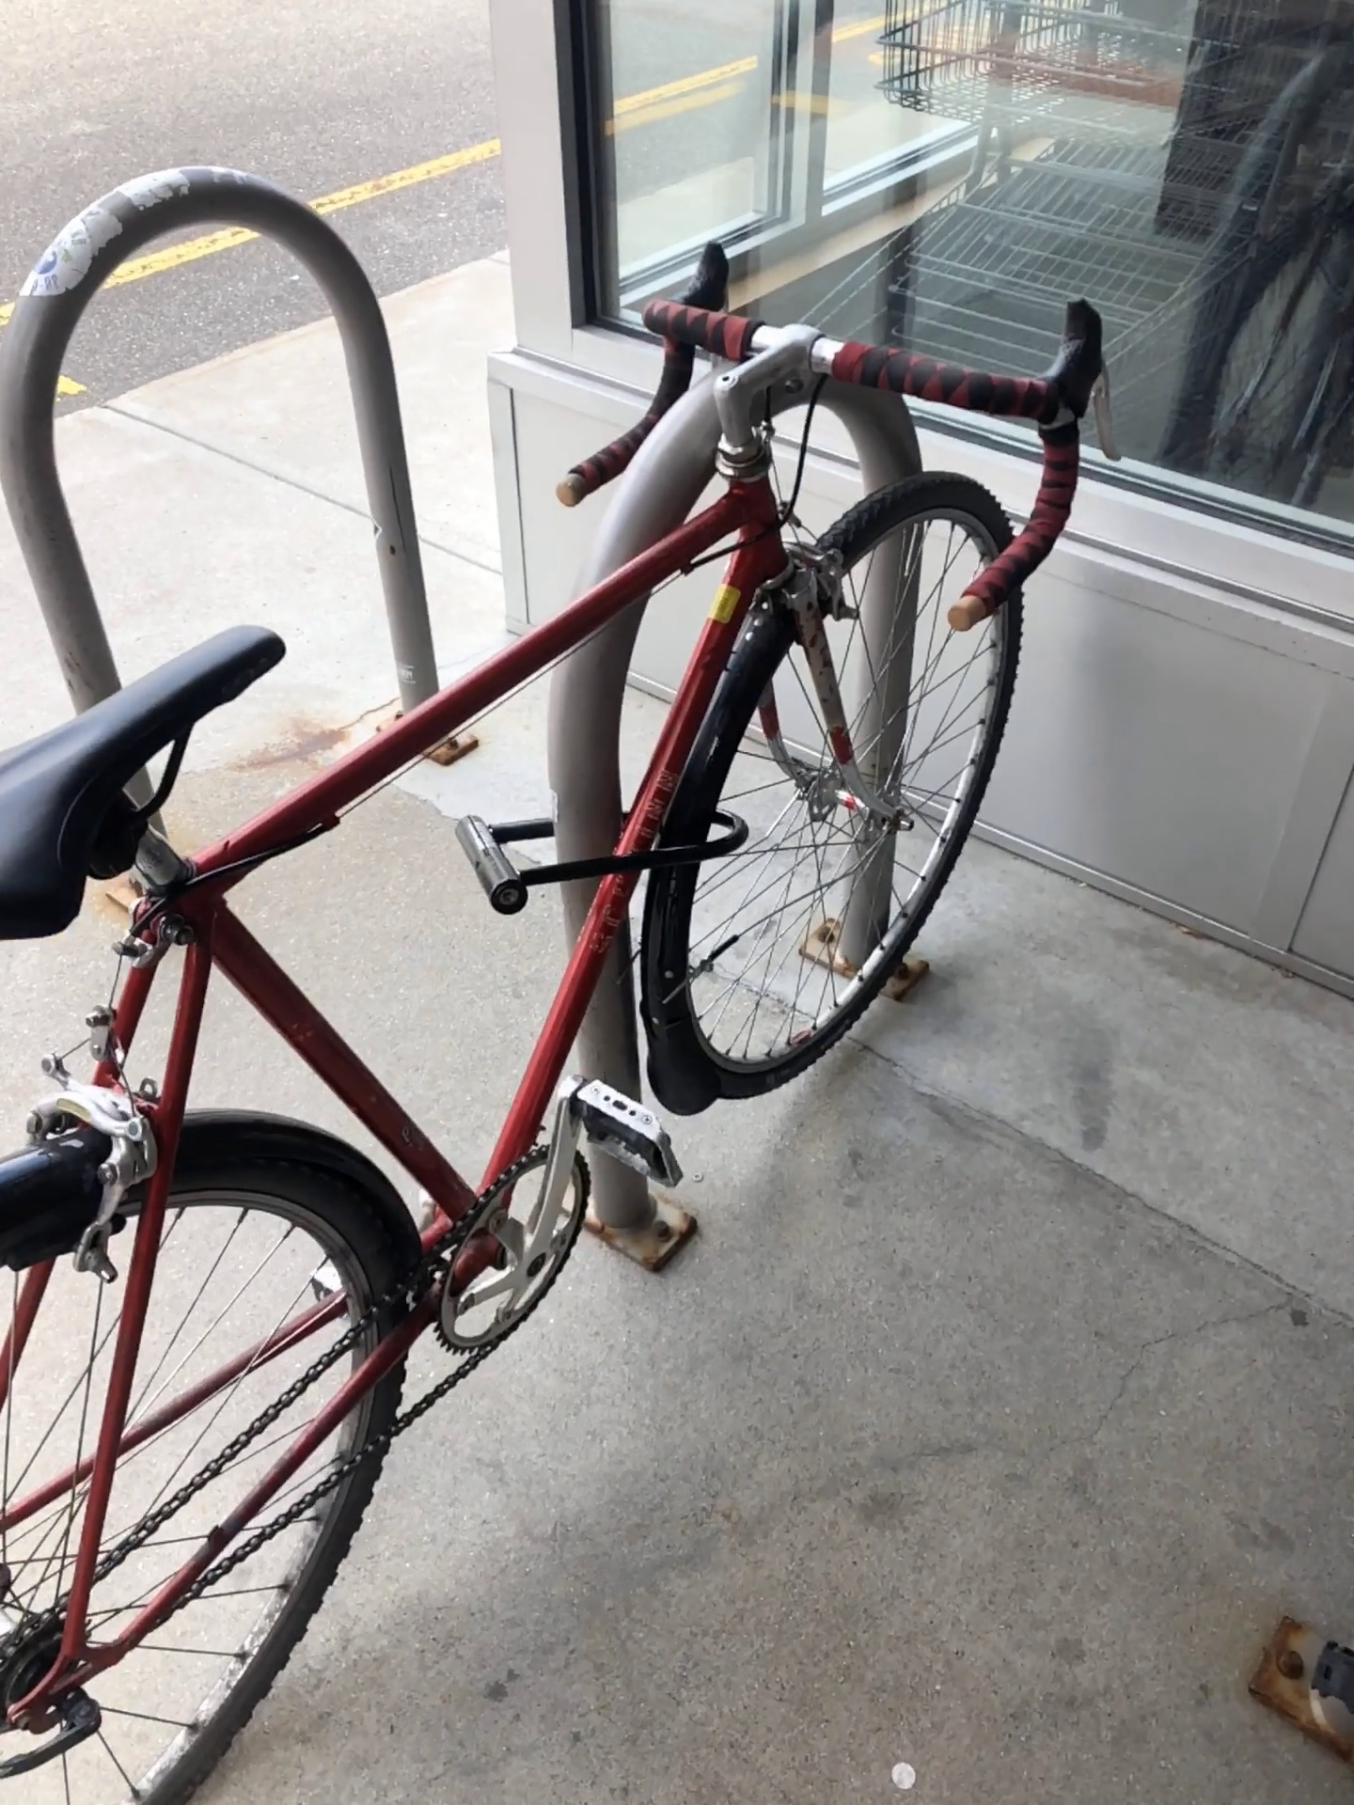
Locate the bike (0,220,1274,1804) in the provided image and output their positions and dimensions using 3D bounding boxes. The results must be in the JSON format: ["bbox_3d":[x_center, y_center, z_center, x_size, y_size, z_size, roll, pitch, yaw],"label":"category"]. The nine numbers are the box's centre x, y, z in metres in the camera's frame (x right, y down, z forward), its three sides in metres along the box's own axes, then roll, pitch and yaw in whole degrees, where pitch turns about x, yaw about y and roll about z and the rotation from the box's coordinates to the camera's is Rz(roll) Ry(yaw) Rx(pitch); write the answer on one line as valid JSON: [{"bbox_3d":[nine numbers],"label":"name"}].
[{"bbox_3d":[-0.137,0.151,1.237,0.459,0.787,1.696,26,50,26],"label":"bike"}]
